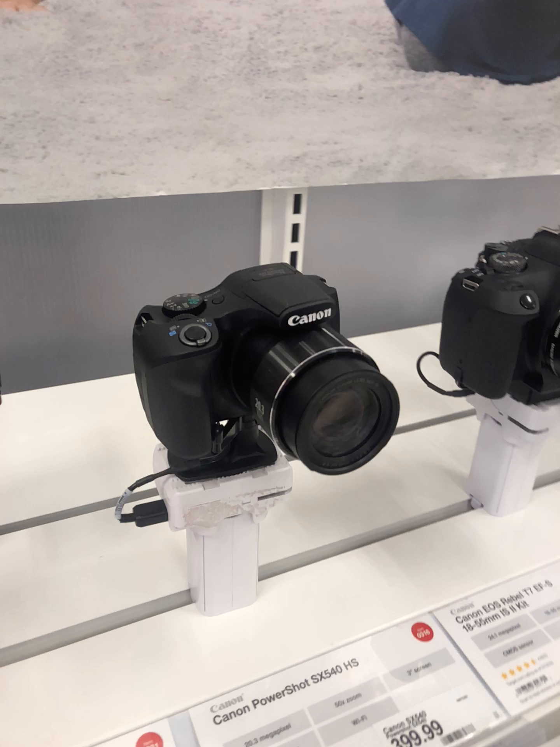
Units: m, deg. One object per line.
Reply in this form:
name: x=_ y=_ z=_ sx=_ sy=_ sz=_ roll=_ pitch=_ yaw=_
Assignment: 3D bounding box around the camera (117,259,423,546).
camera: x=-0.010 y=0.004 z=0.290 sx=0.100 sy=0.076 sz=0.099 roll=-13 pitch=32 yaw=-26
